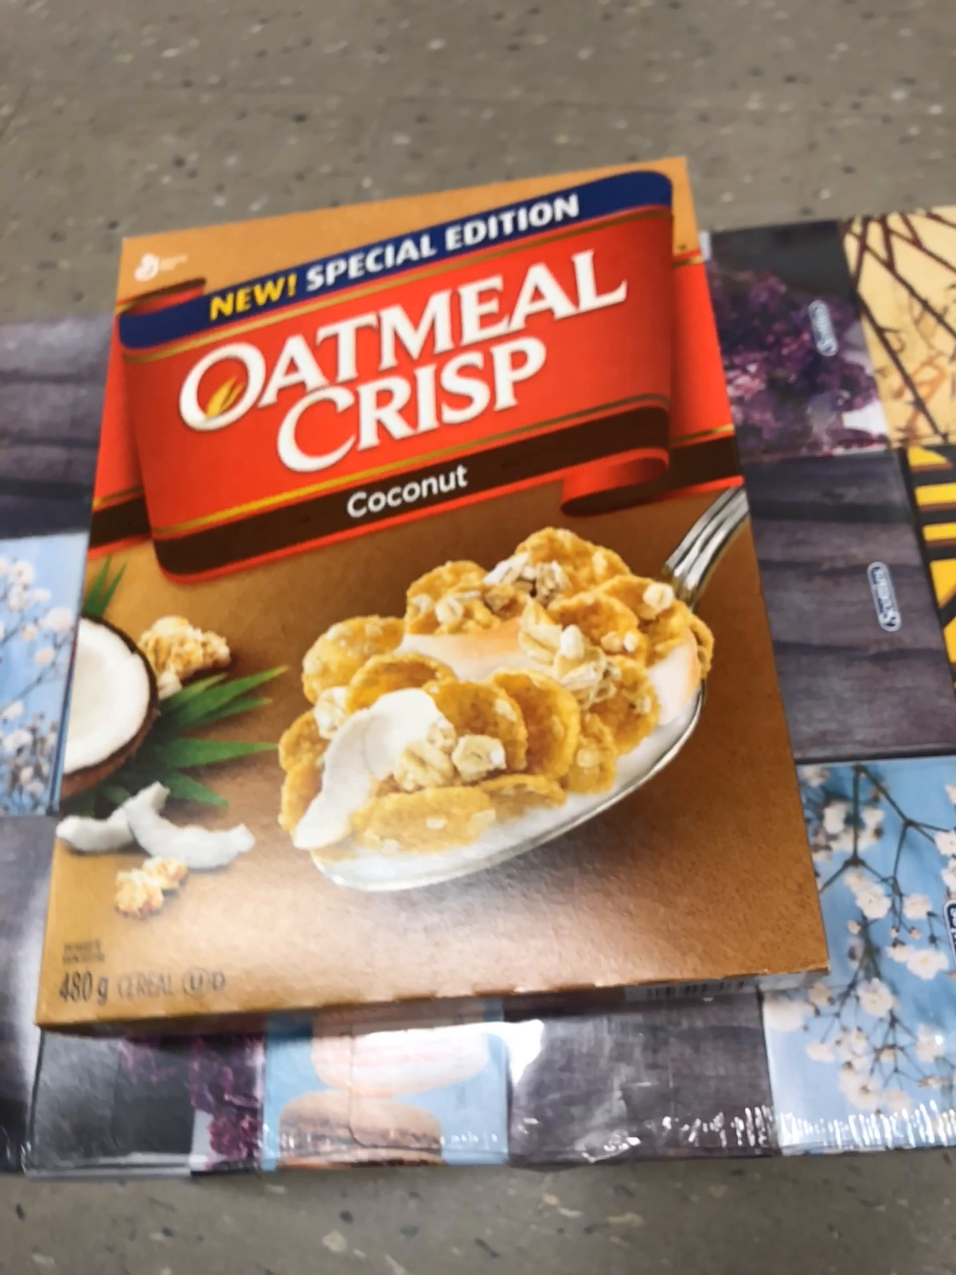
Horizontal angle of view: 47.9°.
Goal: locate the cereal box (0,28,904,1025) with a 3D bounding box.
[{"bbox_3d":[-0.018,-0.047,0.335,0.210,0.060,0.290,-10,61,9],"label":"cereal box"}]
